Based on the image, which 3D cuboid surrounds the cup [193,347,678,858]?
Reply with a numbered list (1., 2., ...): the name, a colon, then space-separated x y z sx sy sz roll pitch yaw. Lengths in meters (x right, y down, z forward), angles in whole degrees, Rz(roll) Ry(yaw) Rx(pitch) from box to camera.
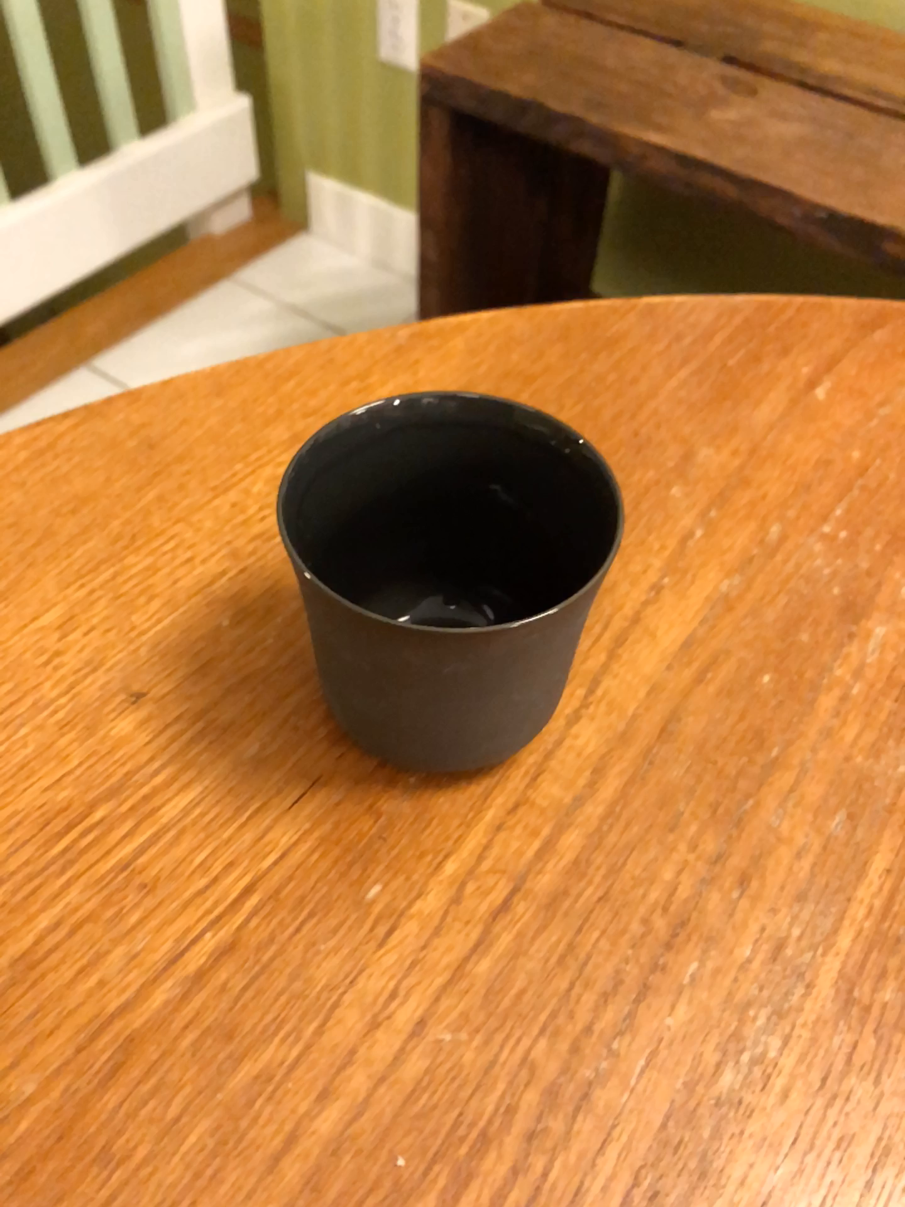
1. cup: -0.002 -0.002 0.244 0.079 0.068 0.075 2 50 -2
